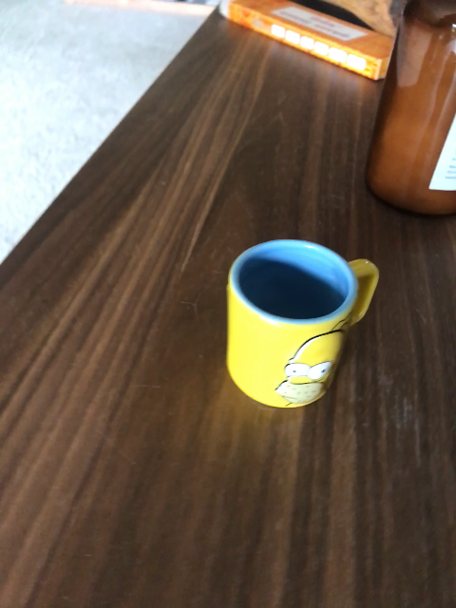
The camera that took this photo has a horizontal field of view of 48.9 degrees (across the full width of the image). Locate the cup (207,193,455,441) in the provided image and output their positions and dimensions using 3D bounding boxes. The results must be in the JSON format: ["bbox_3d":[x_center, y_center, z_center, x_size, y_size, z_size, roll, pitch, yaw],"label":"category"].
[{"bbox_3d":[0.045,0.002,0.227,0.090,0.060,0.060,-23,50,-22],"label":"cup"}]
